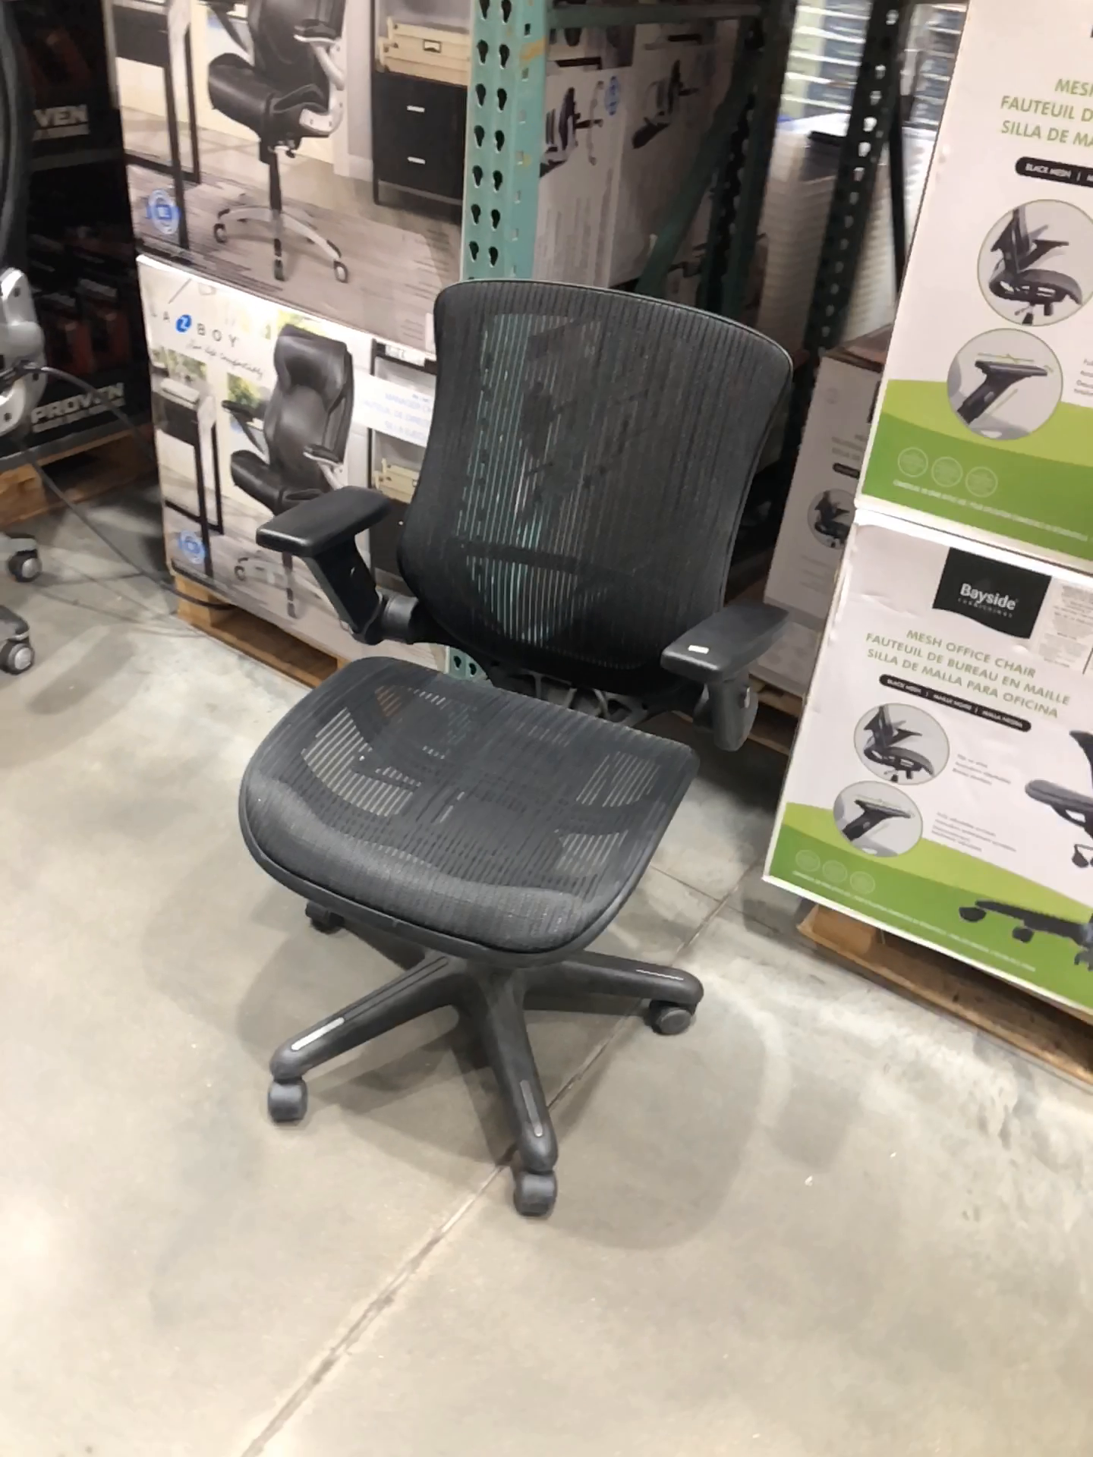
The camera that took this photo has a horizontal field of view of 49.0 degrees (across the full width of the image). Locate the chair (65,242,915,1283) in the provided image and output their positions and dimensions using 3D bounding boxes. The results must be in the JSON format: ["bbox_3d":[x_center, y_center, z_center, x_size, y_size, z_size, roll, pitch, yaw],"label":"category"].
[{"bbox_3d":[-0.035,0.003,1.507,0.634,0.936,0.701,18,37,17],"label":"chair"}]

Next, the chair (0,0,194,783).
[{"bbox_3d":[-1.301,-0.714,2.126,0.905,1.145,0.802,19,37,18],"label":"chair"}]
